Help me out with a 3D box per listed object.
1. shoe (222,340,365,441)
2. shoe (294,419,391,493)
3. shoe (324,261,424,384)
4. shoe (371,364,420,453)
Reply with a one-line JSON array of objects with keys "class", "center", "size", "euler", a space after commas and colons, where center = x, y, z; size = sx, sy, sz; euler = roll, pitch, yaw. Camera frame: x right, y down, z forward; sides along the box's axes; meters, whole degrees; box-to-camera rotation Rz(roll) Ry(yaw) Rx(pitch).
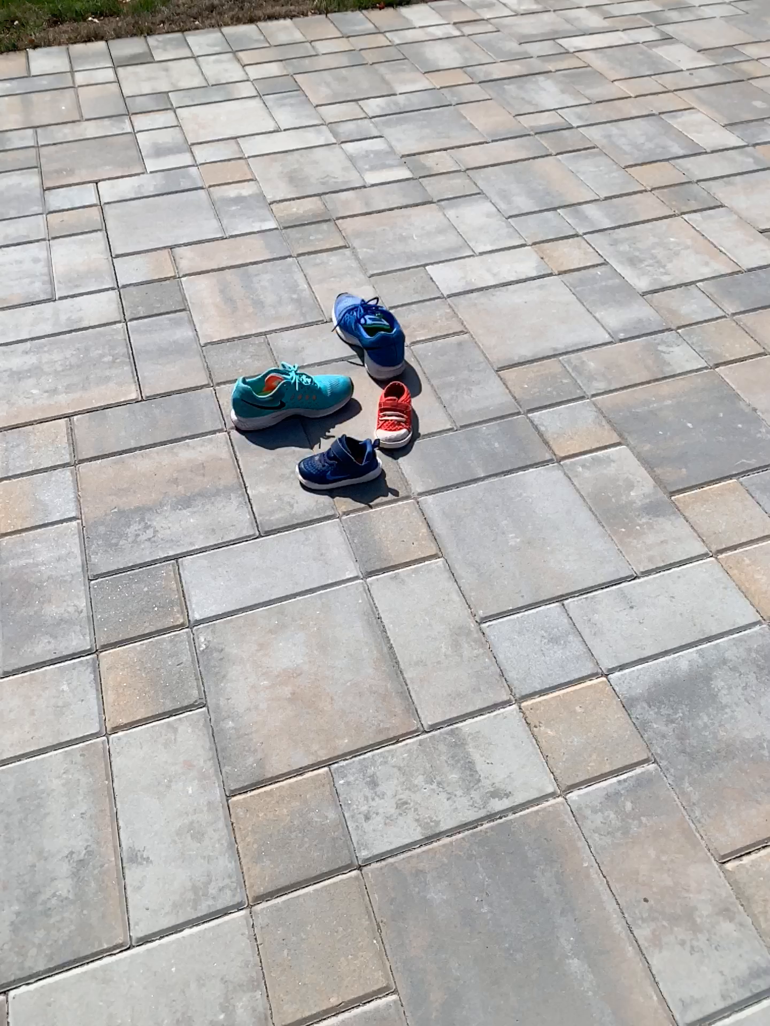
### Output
[{"class": "shoe", "center": [-0.168, -0.228, 1.455], "size": [0.240, 0.100, 0.100], "euler": [-14, 50, -12]}, {"class": "shoe", "center": [-0.073, -0.098, 1.340], "size": [0.150, 0.070, 0.080], "euler": [-9, 49, -8]}, {"class": "shoe", "center": [-0.026, -0.386, 1.573], "size": [0.110, 0.110, 0.241], "euler": [-18, 51, -16]}, {"class": "shoe", "center": [0.020, -0.192, 1.431], "size": [0.080, 0.080, 0.151], "euler": [3, 49, 2]}]
